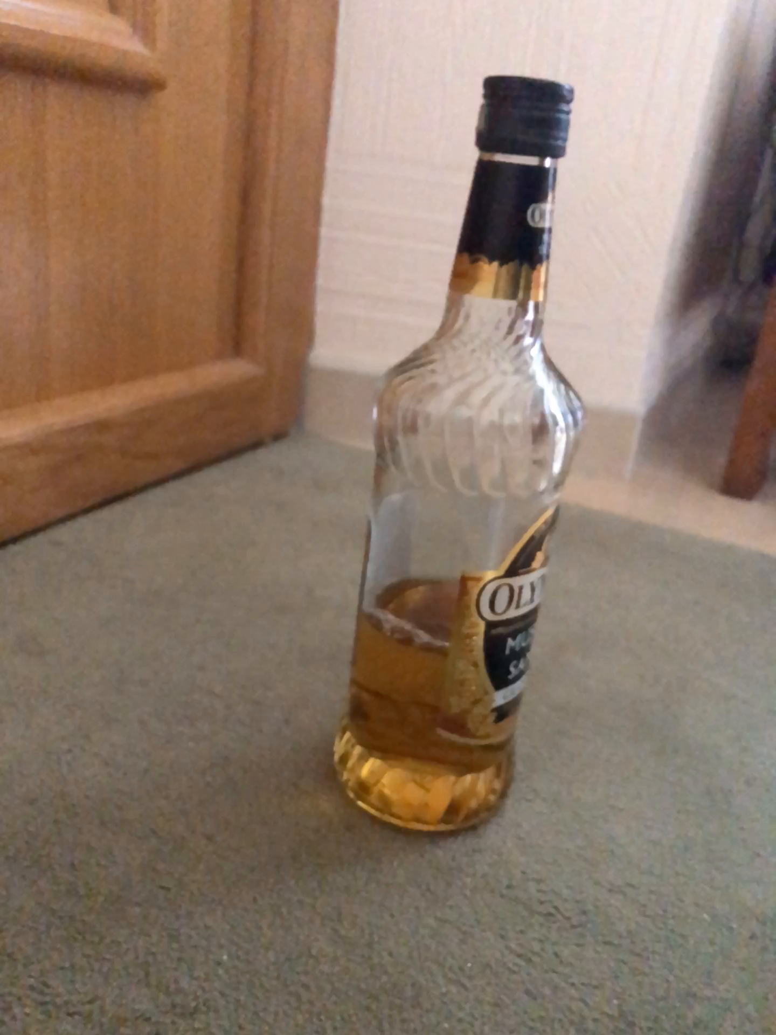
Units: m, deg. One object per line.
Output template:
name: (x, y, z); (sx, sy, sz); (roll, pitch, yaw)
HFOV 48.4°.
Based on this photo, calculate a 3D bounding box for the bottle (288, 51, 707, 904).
bottle: (0.035, -0.009, 0.336); (0.090, 0.288, 0.091); (6, 21, -2)
